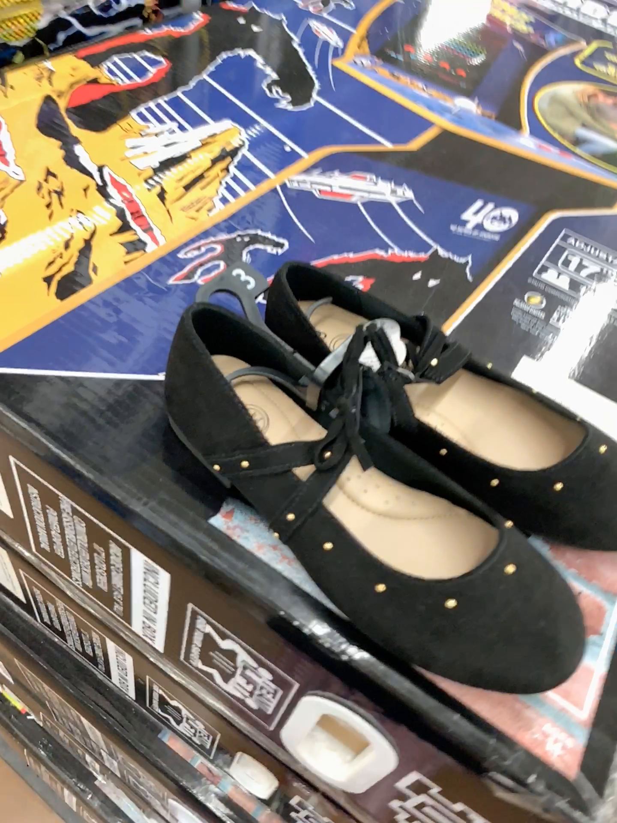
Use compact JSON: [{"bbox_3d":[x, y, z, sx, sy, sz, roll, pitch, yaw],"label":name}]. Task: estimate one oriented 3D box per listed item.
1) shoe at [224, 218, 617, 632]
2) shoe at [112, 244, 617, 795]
[{"bbox_3d":[0.081,-0.002,0.358,0.250,0.070,0.090,35,52,13],"label":"shoe"},{"bbox_3d":[0.025,0.034,0.286,0.240,0.070,0.090,41,54,17],"label":"shoe"}]
